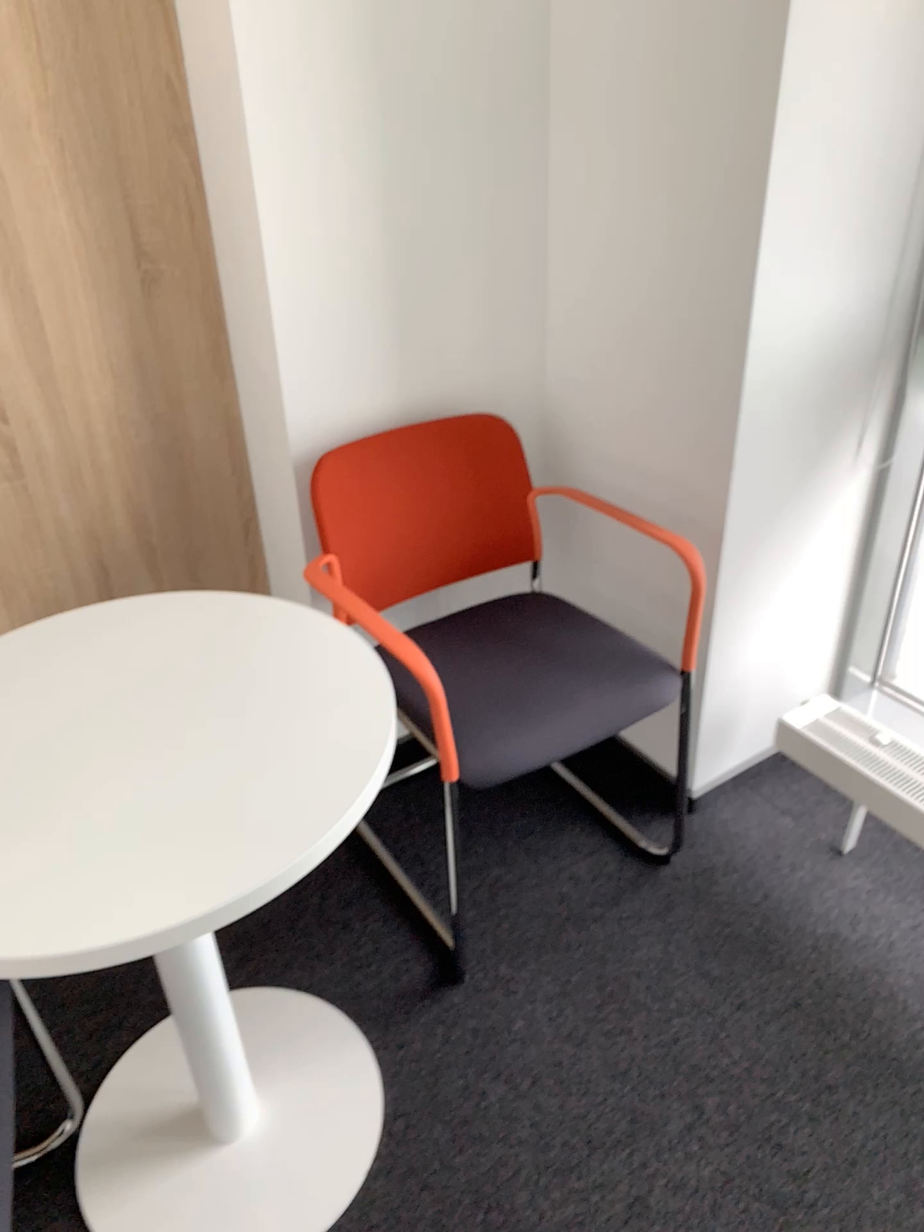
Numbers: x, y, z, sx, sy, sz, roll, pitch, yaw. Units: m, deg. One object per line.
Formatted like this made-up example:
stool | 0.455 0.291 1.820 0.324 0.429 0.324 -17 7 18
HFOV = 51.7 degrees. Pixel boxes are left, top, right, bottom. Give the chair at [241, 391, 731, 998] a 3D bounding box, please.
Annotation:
chair | 0.032 0.100 1.726 0.571 0.776 0.562 -20 36 -26
